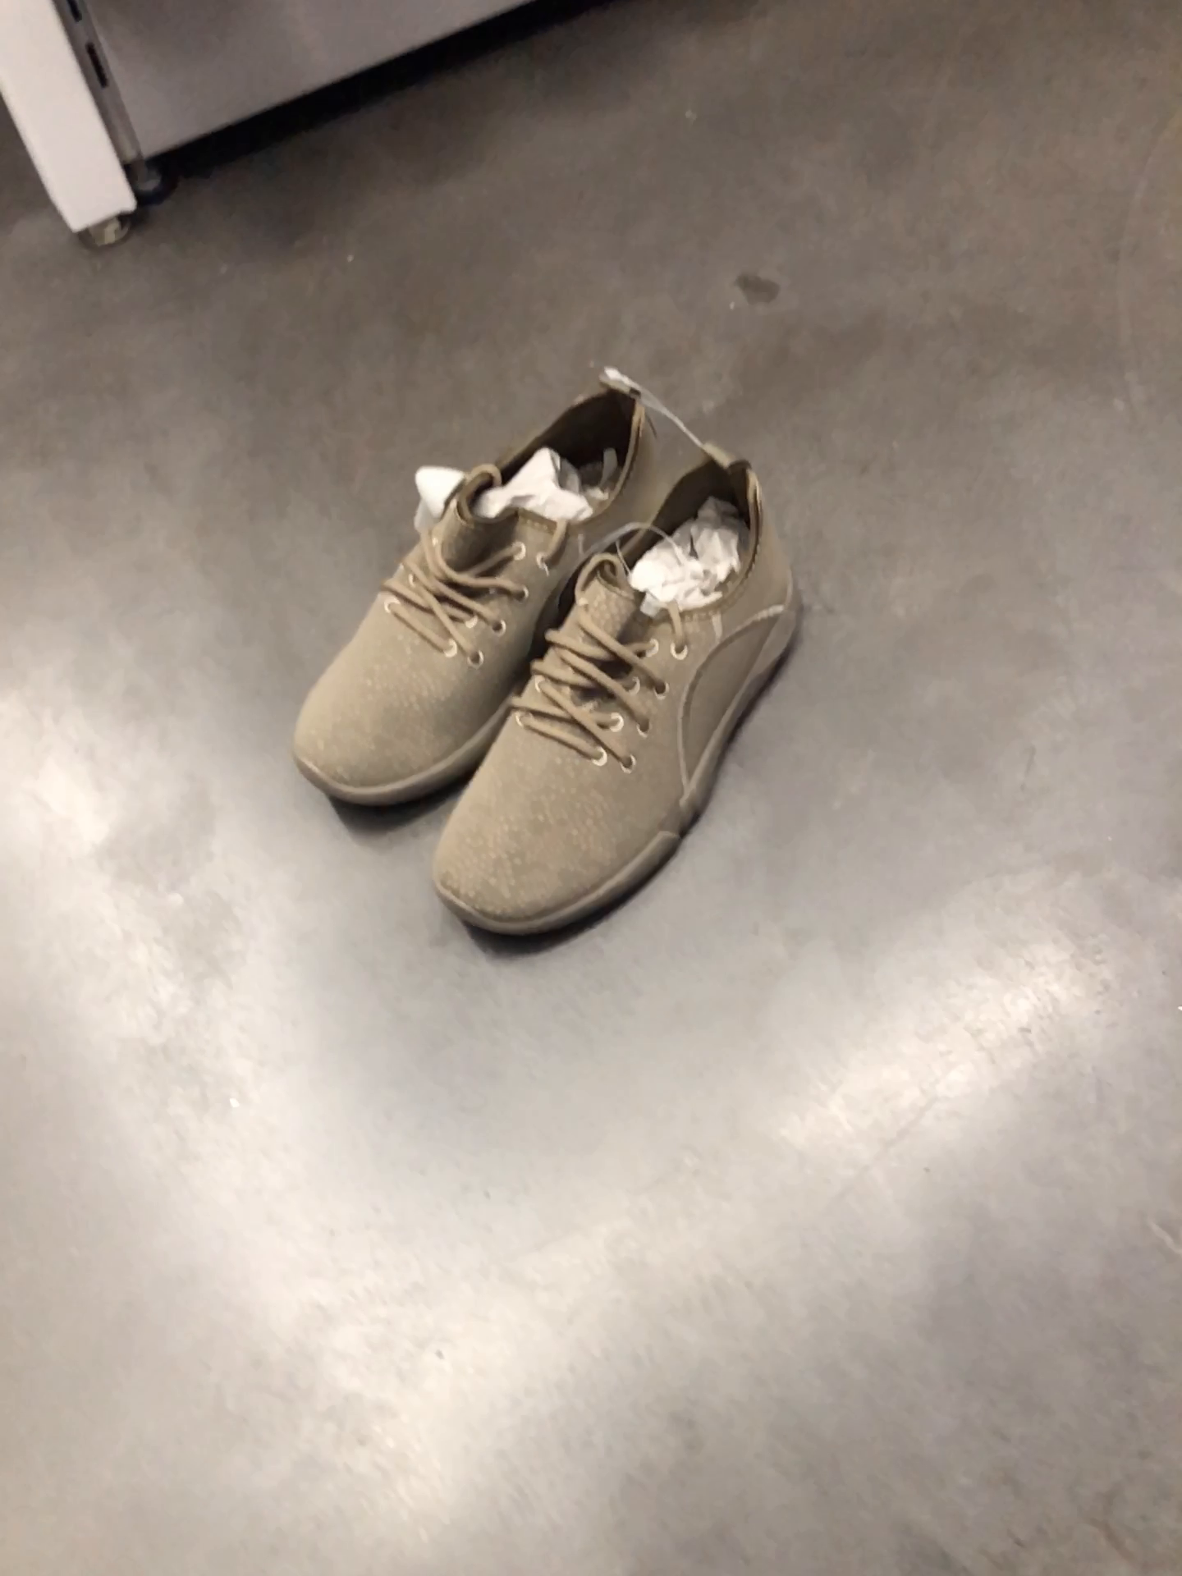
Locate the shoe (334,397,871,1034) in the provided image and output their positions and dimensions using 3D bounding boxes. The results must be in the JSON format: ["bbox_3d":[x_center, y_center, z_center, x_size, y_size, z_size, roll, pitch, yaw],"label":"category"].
[{"bbox_3d":[0.014,-0.035,0.566,0.100,0.110,0.241,28,66,17],"label":"shoe"}]

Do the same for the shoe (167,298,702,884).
[{"bbox_3d":[-0.057,-0.092,0.594,0.090,0.110,0.241,33,68,19],"label":"shoe"}]
